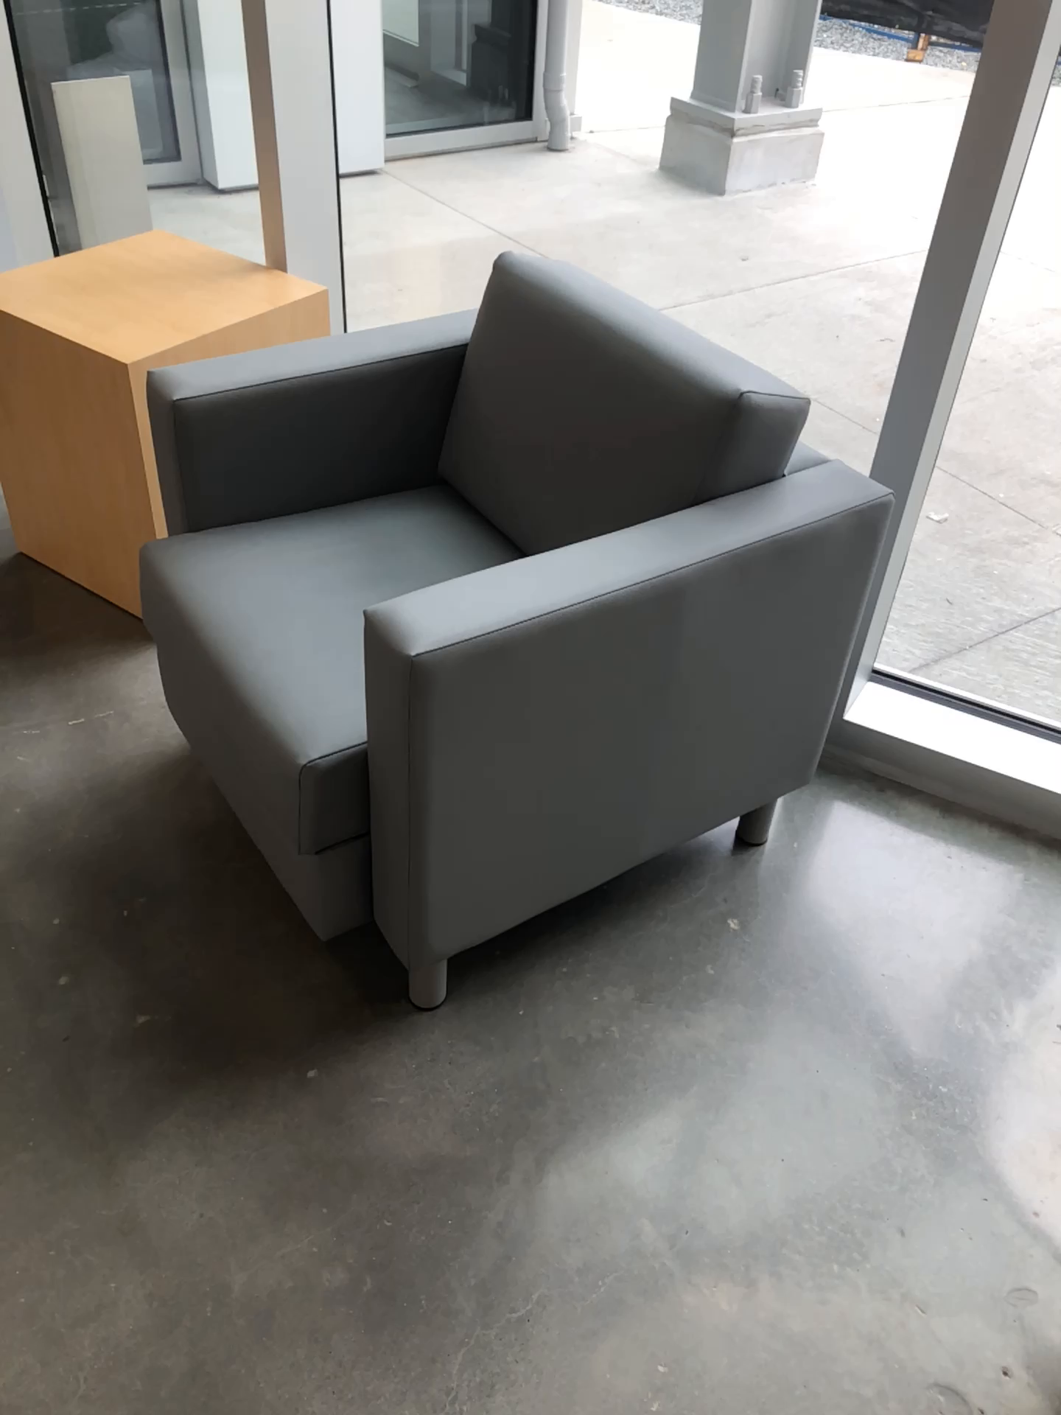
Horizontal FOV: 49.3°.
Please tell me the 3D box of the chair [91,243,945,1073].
[{"bbox_3d":[-0.057,-0.143,1.676,0.781,0.695,0.774,-21,46,-27],"label":"chair"}]
